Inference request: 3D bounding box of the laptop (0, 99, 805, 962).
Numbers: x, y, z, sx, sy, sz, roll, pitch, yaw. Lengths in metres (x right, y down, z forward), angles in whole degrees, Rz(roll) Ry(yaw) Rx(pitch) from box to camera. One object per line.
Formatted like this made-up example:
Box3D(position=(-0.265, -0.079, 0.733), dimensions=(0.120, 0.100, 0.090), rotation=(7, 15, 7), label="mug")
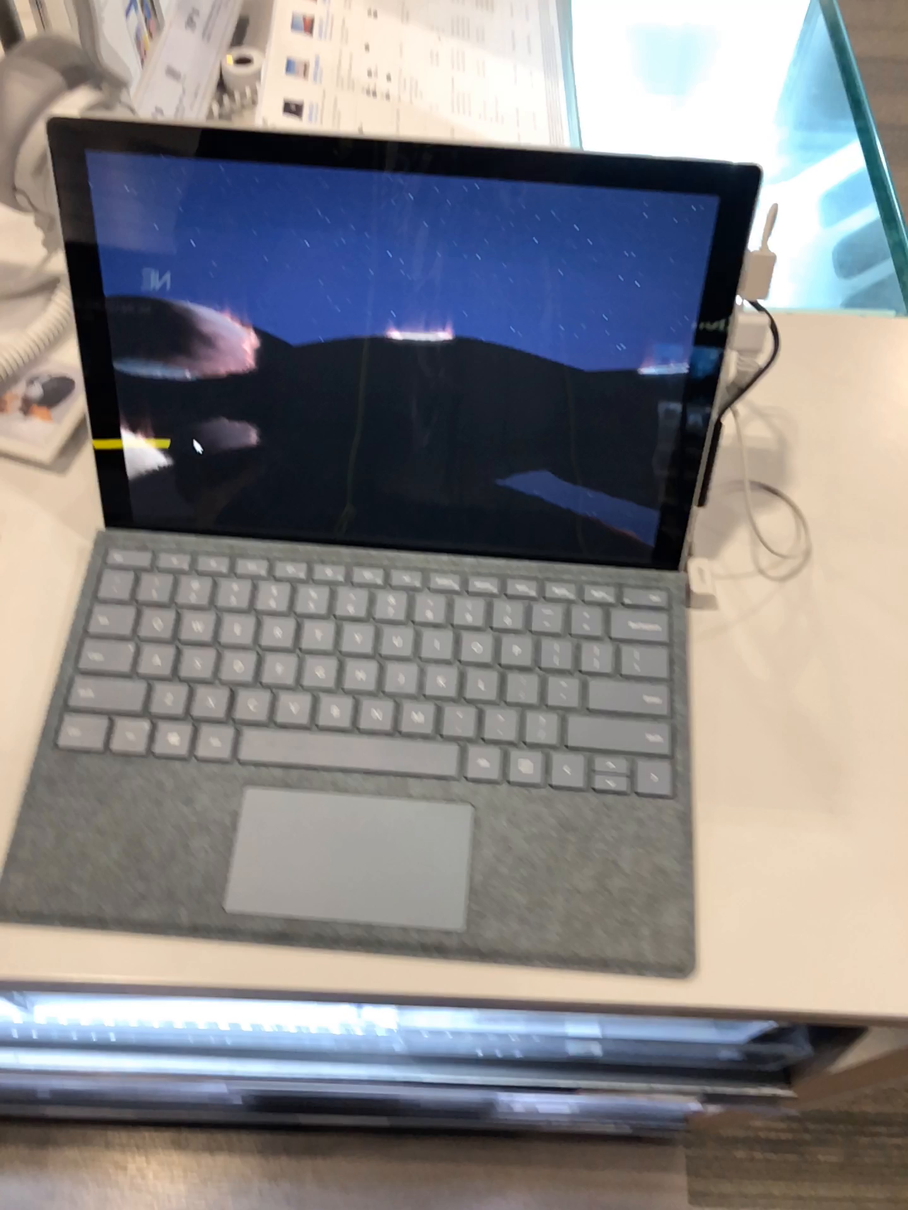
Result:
Box3D(position=(-0.020, -0.034, 0.394), dimensions=(0.261, 0.143, 0.284), rotation=(5, 64, 5), label="laptop")
